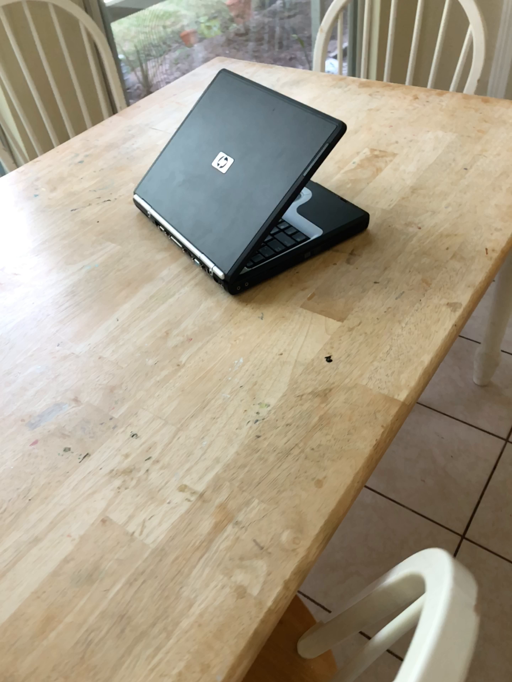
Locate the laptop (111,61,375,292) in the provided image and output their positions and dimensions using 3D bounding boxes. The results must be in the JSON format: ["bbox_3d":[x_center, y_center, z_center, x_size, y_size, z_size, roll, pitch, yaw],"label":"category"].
[{"bbox_3d":[-0.024,-0.269,0.863,0.255,0.162,0.307,-29,48,-19],"label":"laptop"}]
